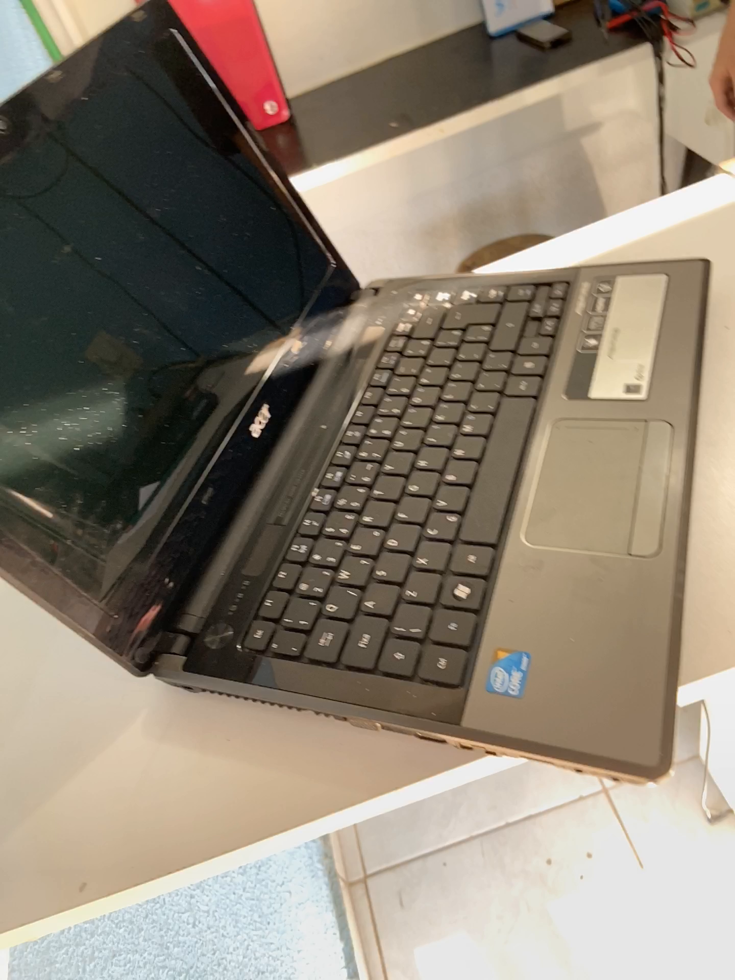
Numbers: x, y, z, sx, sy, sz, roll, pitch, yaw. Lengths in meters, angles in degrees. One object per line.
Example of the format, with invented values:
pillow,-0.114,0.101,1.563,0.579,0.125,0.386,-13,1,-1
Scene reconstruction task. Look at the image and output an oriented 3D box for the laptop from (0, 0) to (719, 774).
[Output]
laptop,-0.011,-0.101,0.372,0.318,0.207,0.338,3,49,24
